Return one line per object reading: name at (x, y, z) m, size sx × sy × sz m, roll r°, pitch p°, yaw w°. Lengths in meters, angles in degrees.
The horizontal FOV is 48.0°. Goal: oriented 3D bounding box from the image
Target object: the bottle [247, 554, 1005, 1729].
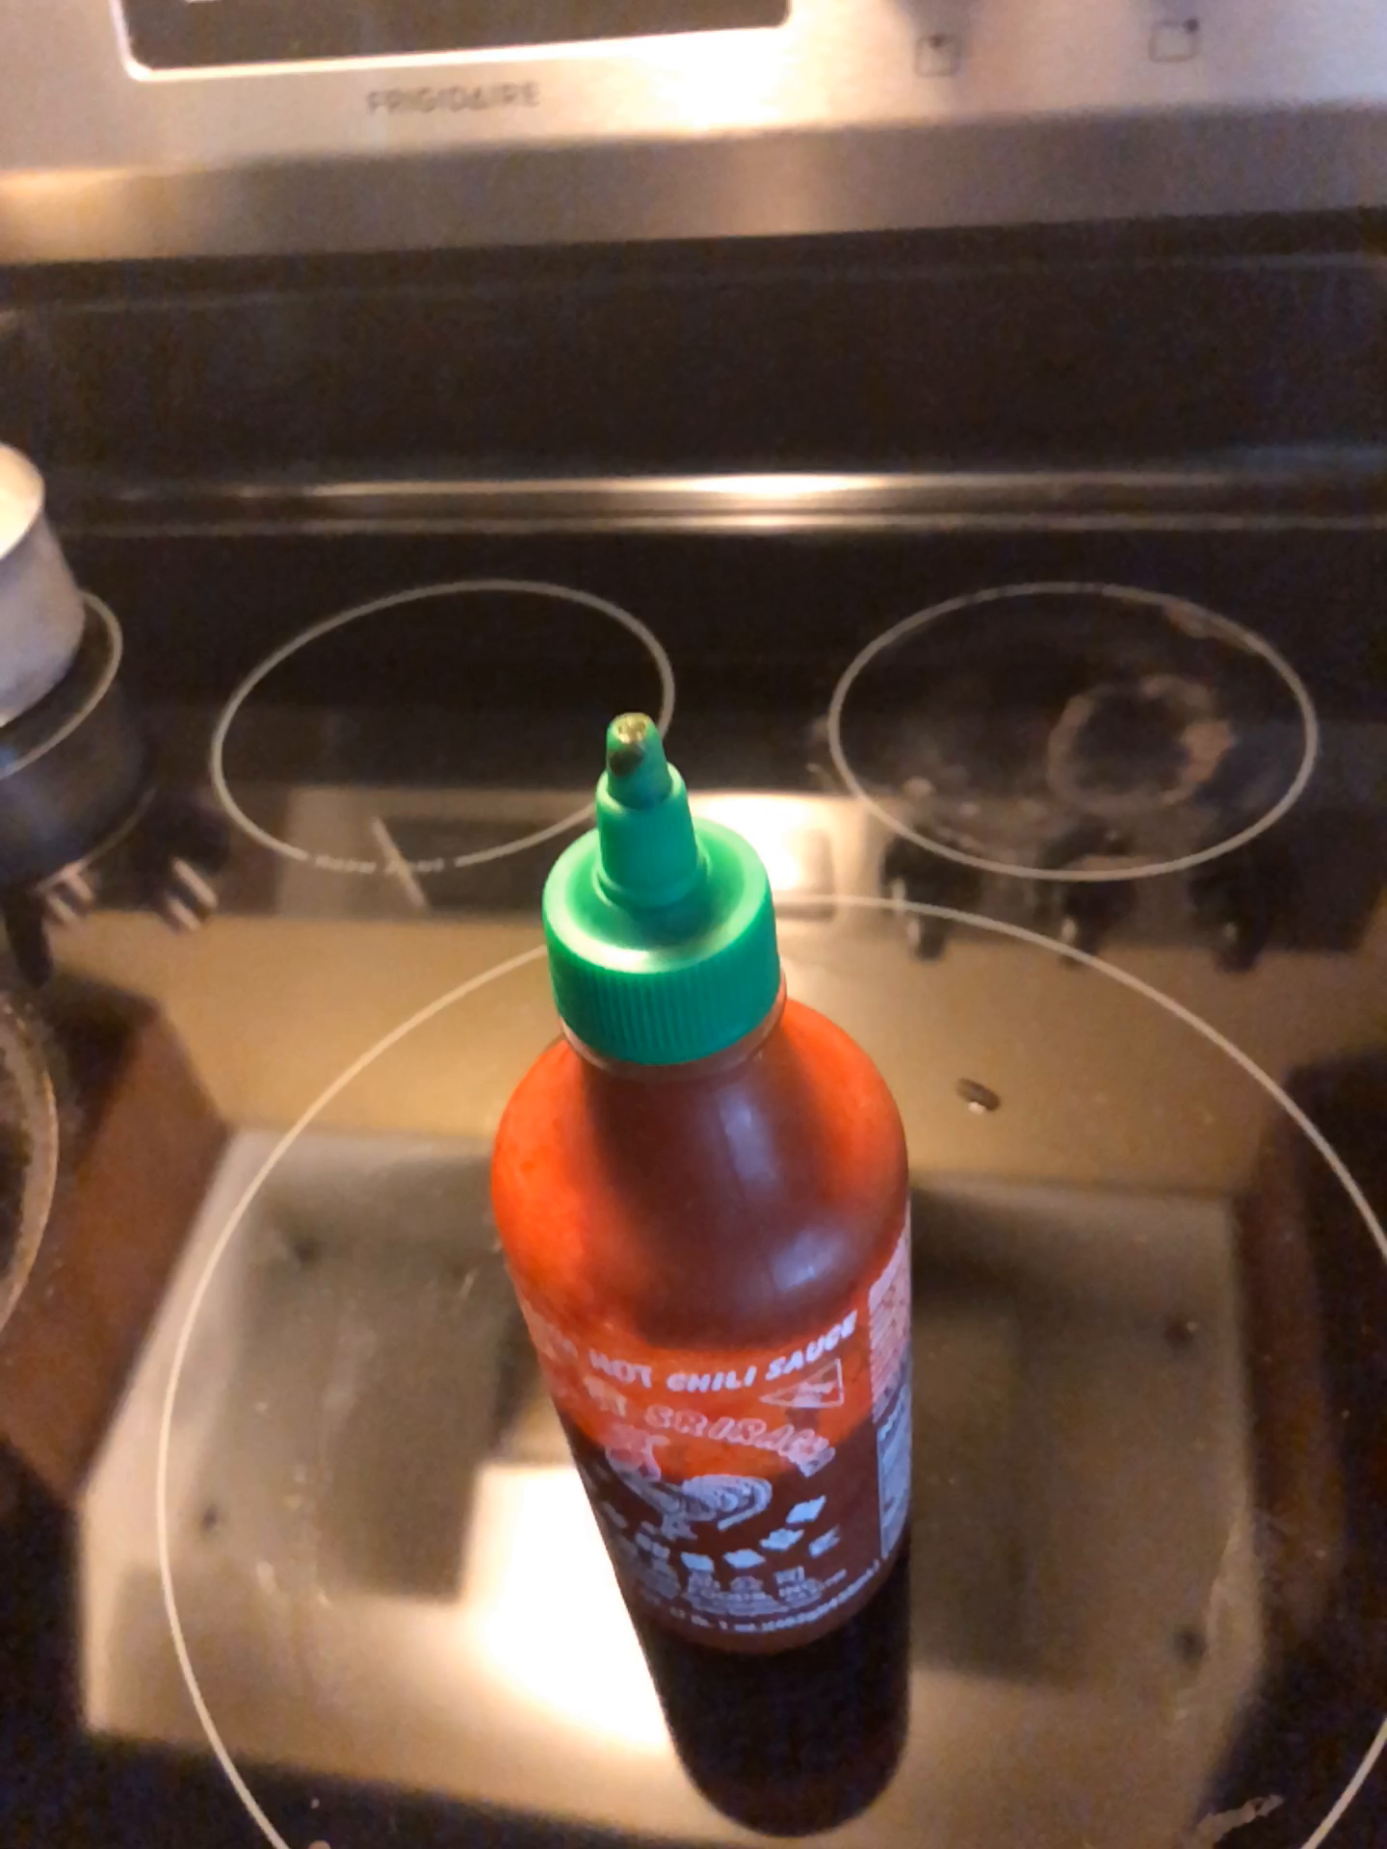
bottle at (0.006, 0.049, 0.250) m, size 0.070 × 0.200 × 0.070 m, roll -4°, pitch 45°, yaw 4°
